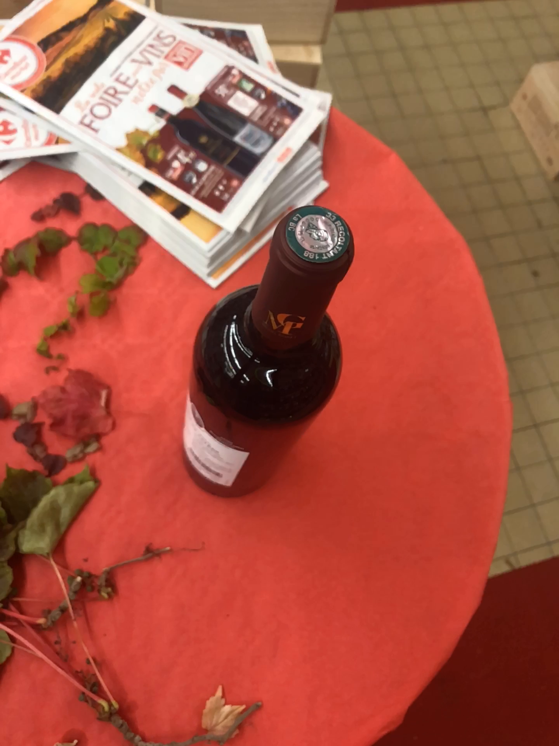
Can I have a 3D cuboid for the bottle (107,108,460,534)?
[{"bbox_3d":[-0.018,0.009,0.352,0.090,0.299,0.090,3,68,-7],"label":"bottle"}]
